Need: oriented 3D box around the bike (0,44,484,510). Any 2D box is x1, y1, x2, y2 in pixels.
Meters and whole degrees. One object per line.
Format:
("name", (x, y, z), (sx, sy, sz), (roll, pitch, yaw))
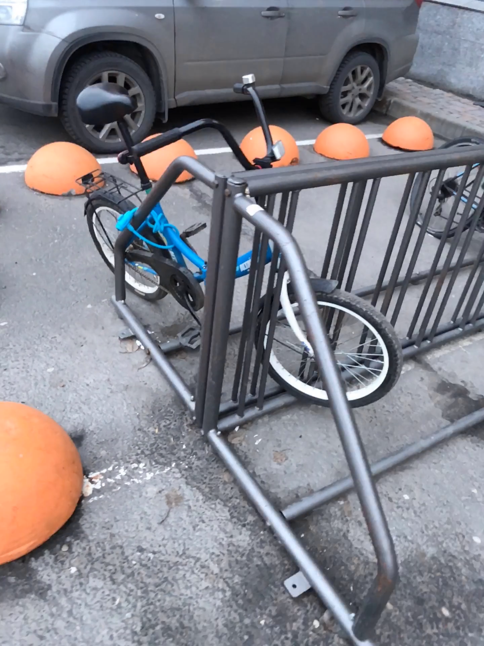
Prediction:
("bike", (-0.197, -0.308, 1.684), (1.422, 0.992, 0.726), (24, 38, 32))
